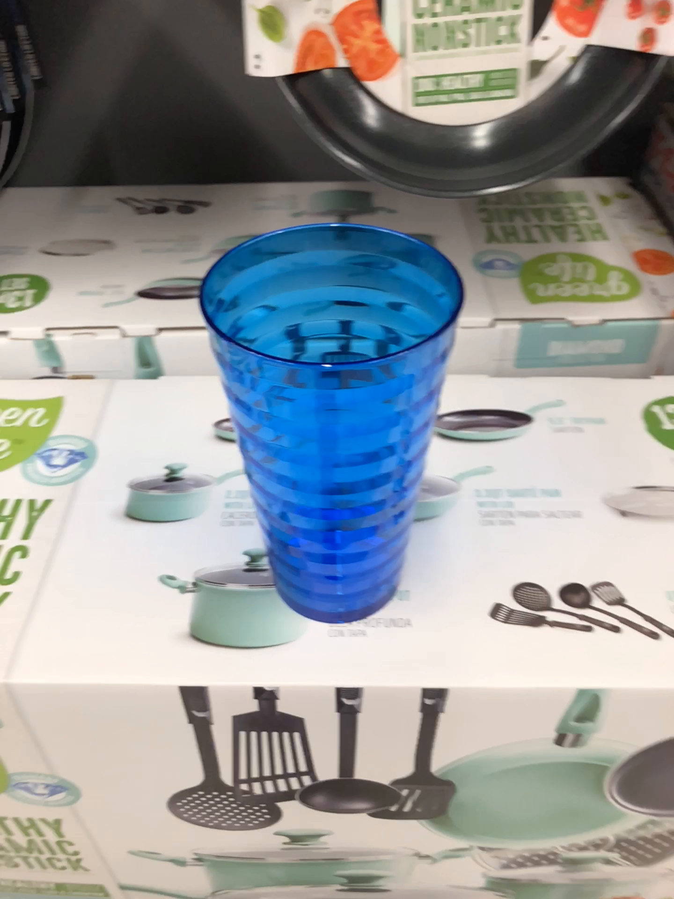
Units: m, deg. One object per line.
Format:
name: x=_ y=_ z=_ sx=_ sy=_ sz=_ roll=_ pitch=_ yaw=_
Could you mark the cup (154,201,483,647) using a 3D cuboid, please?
cup: x=0.000 y=-0.007 z=0.290 sx=0.087 sy=0.134 sz=0.092 roll=0 pitch=45 yaw=0
